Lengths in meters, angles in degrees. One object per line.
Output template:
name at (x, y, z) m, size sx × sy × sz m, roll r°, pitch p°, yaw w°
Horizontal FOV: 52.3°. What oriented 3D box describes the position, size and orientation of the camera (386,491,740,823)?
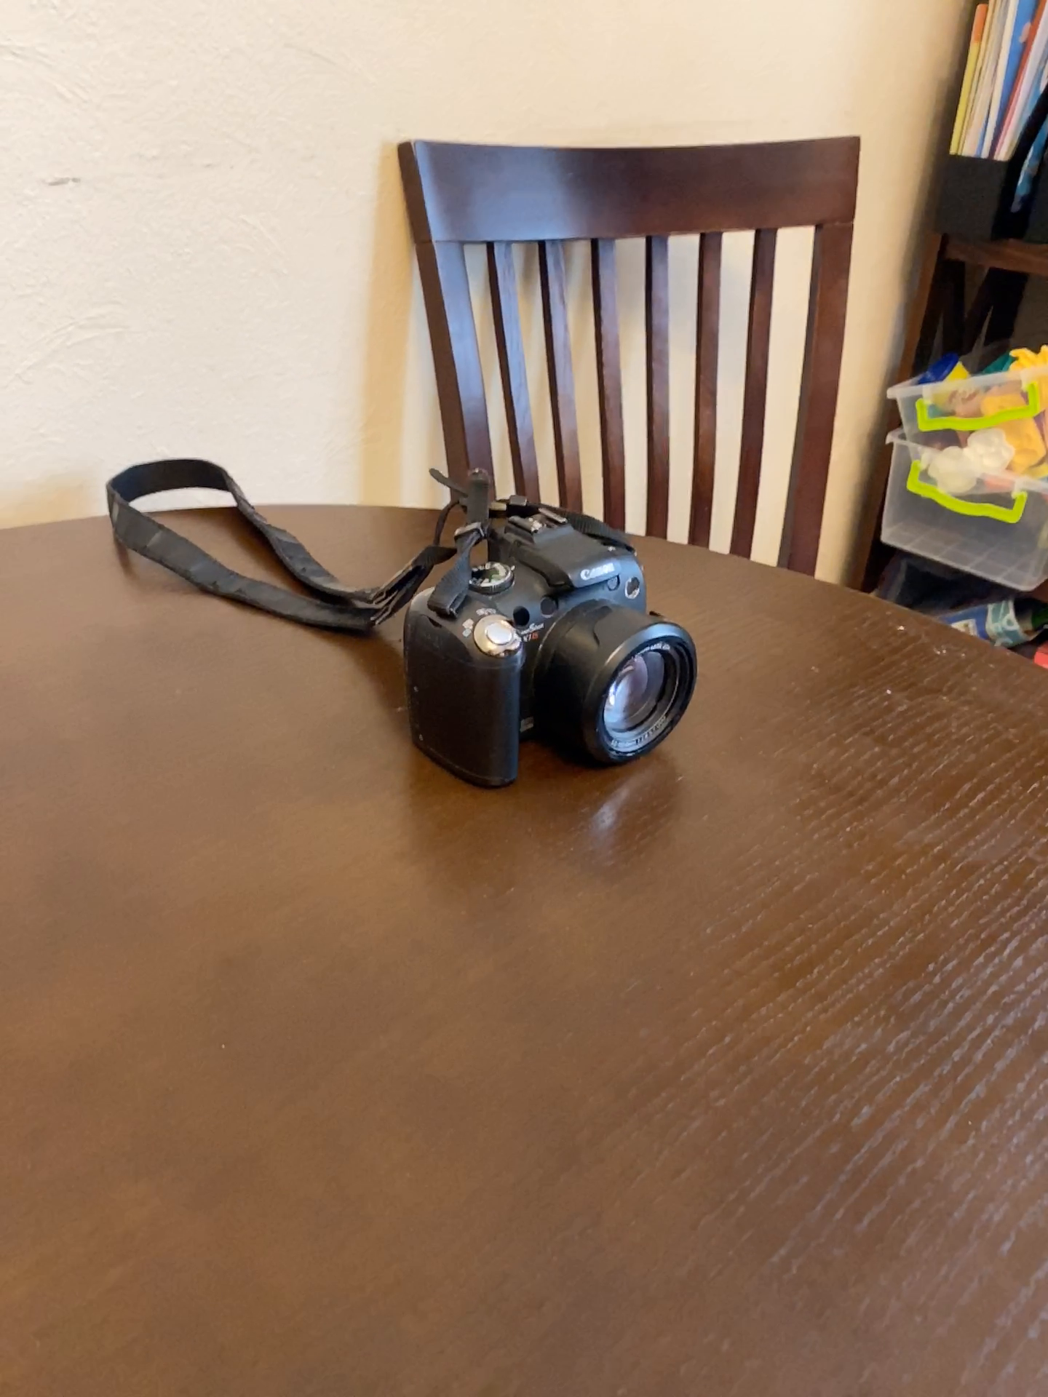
camera at (0.015, -0.024, 0.464) m, size 0.123 × 0.088 × 0.082 m, roll -21°, pitch 39°, yaw -33°
